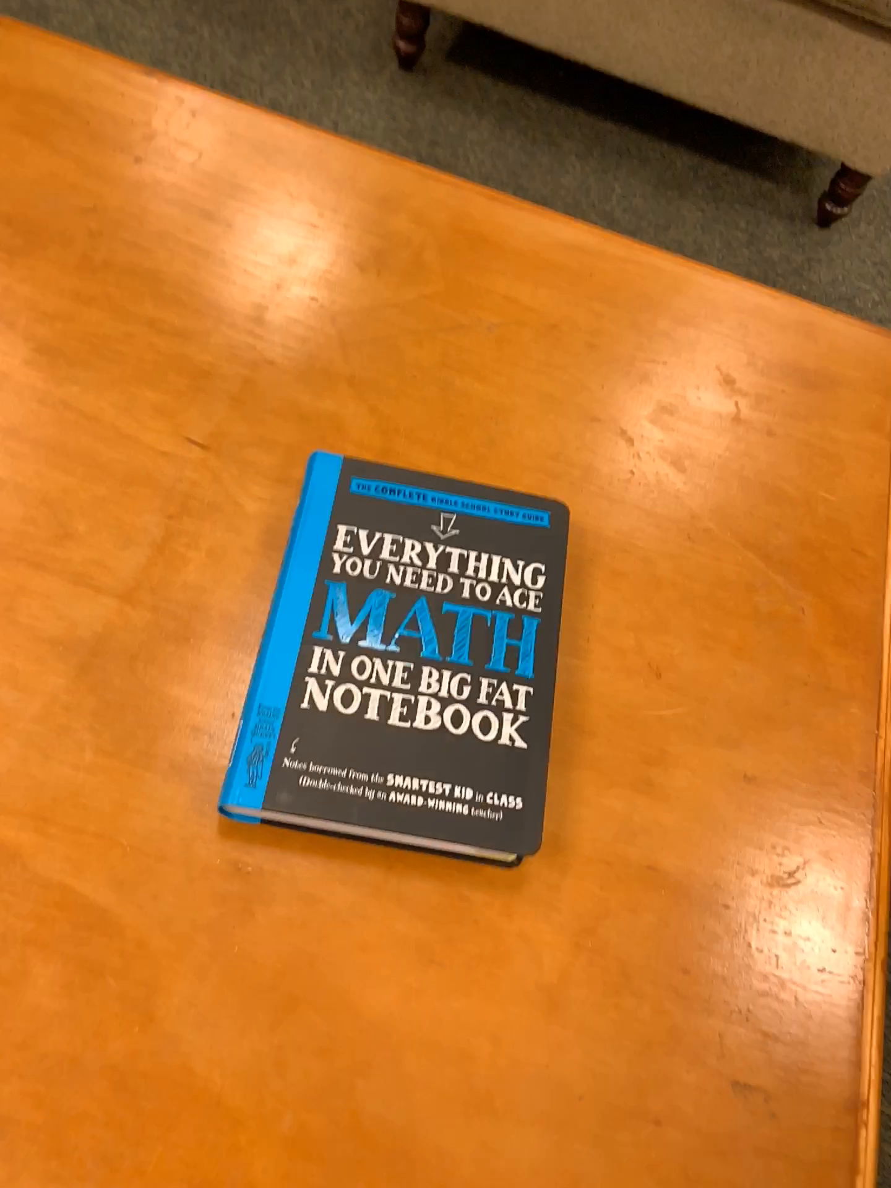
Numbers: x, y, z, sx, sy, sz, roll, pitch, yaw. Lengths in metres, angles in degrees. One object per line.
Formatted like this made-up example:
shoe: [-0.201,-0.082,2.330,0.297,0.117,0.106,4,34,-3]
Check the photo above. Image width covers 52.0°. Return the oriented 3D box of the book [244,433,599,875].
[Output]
book: [-0.008,0.030,0.498,0.157,0.050,0.208,12,66,-7]
